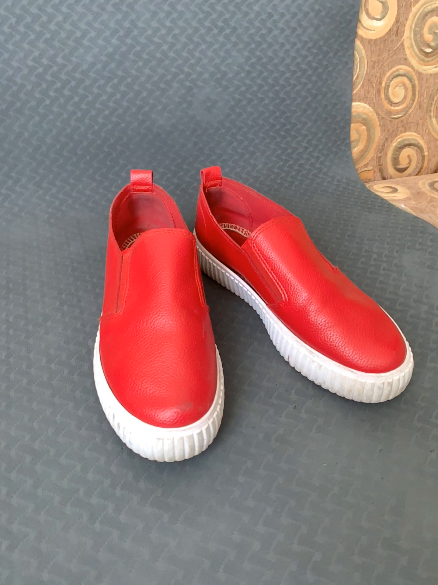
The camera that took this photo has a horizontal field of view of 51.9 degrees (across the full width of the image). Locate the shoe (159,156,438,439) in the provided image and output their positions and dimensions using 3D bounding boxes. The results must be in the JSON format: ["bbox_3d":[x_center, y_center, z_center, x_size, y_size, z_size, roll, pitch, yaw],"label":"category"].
[{"bbox_3d":[0.056,-0.017,0.360,0.095,0.070,0.241,-24,50,-28],"label":"shoe"}]

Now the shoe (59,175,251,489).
[{"bbox_3d":[-0.052,0.005,0.335,0.095,0.070,0.241,-4,44,-9],"label":"shoe"}]
